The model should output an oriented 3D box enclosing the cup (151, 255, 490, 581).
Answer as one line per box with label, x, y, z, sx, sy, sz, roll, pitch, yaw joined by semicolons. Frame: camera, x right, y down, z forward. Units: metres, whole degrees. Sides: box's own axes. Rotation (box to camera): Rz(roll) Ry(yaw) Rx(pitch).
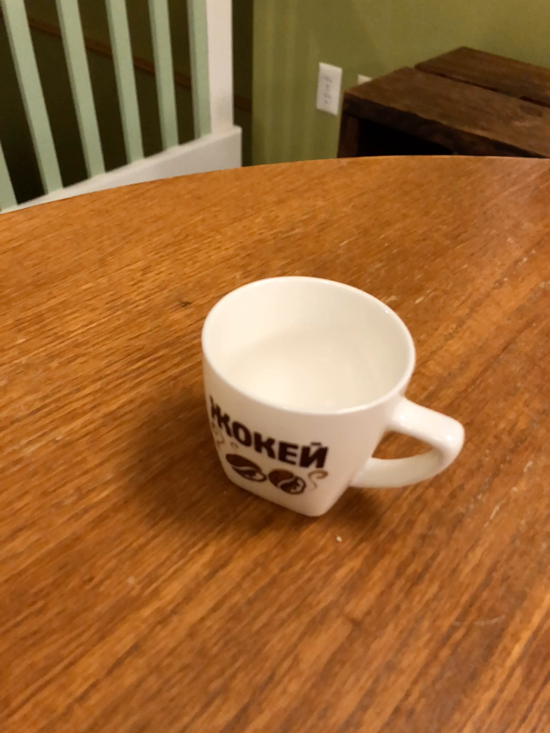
cup;0.014;0.011;0.184;0.075;0.047;0.060;21;45;19
